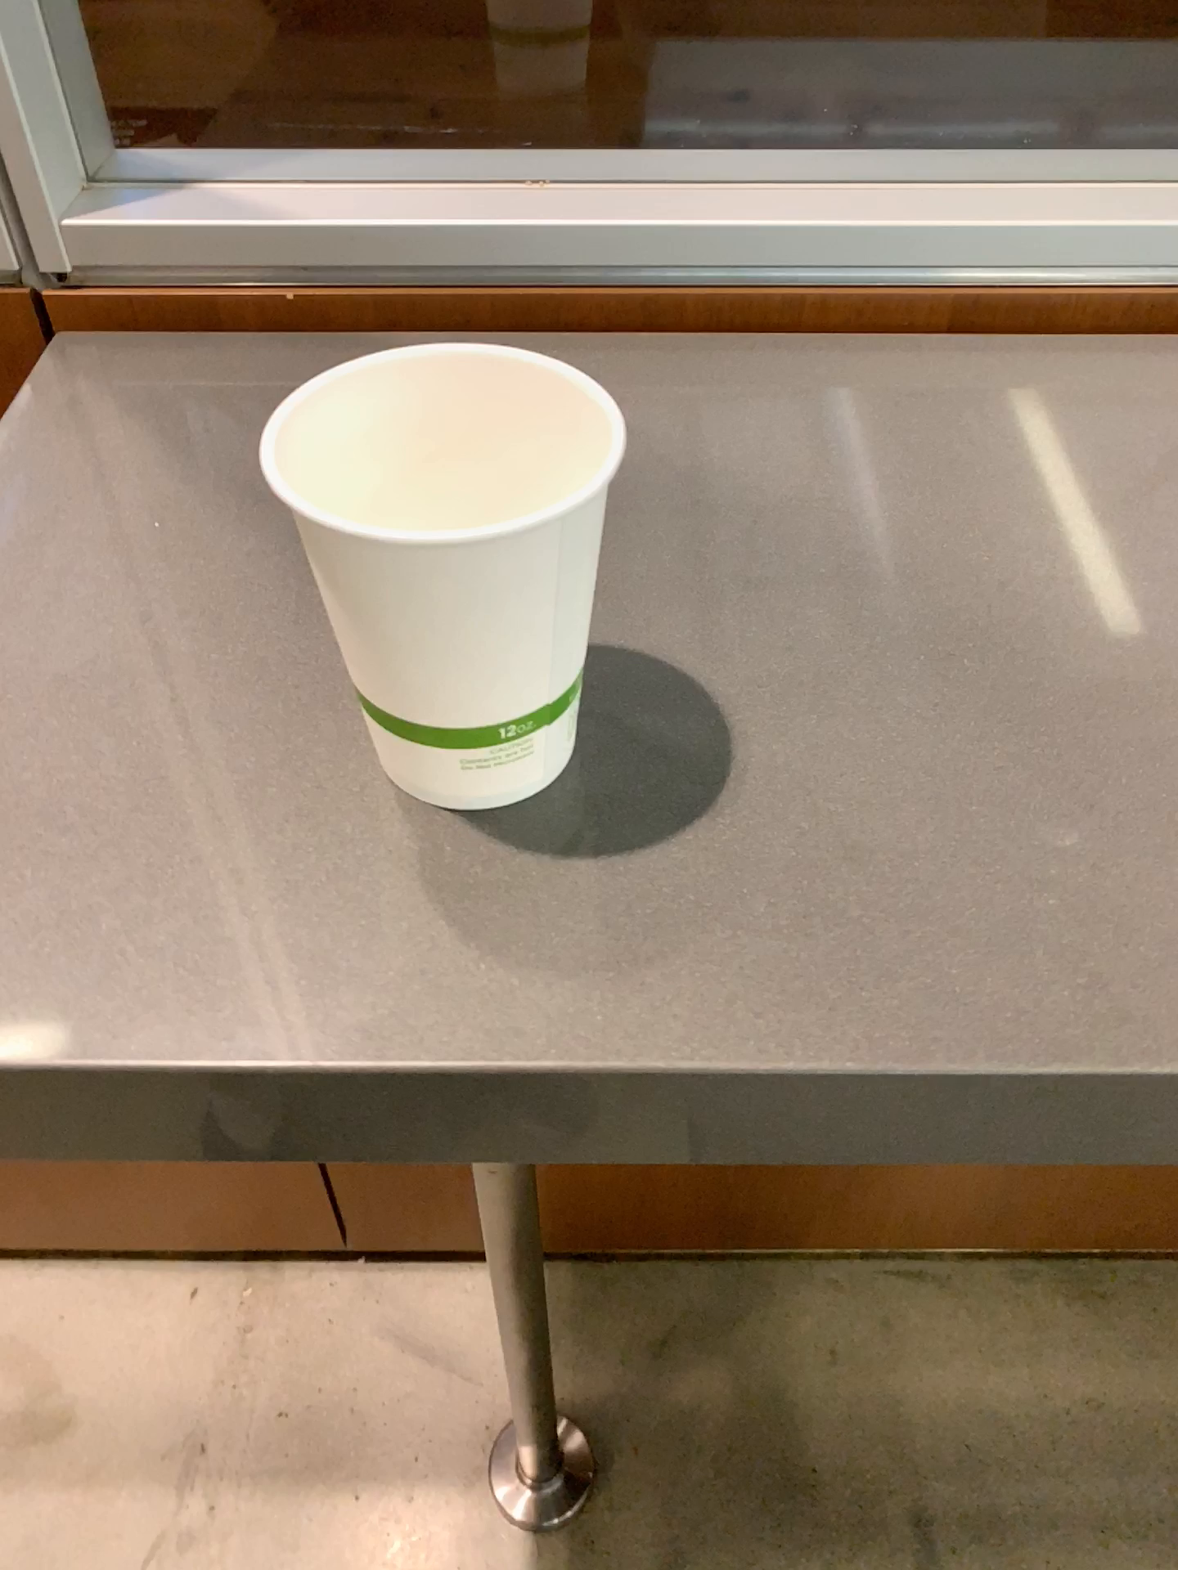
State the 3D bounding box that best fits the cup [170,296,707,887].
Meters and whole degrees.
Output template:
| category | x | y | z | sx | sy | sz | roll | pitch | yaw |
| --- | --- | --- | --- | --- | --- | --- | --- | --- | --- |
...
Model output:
| category | x | y | z | sx | sy | sz | roll | pitch | yaw |
| --- | --- | --- | --- | --- | --- | --- | --- | --- | --- |
| cup | -0.031 | -0.052 | 0.313 | 0.090 | 0.099 | 0.090 | 0 | 45 | 0 |
